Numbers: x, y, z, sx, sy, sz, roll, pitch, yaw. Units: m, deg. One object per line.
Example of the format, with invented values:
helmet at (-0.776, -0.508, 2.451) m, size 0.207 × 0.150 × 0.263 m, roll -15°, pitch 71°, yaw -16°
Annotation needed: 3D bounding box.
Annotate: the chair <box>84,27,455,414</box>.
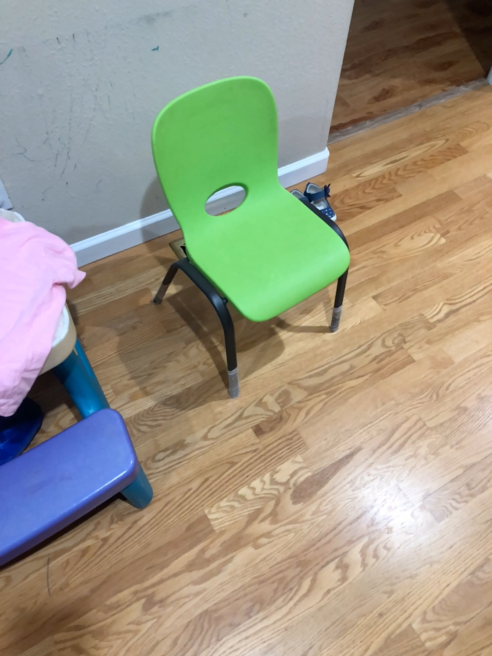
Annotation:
chair at (0.027, -0.235, 1.238) m, size 0.511 × 0.558 × 0.481 m, roll -30°, pitch 62°, yaw -21°
